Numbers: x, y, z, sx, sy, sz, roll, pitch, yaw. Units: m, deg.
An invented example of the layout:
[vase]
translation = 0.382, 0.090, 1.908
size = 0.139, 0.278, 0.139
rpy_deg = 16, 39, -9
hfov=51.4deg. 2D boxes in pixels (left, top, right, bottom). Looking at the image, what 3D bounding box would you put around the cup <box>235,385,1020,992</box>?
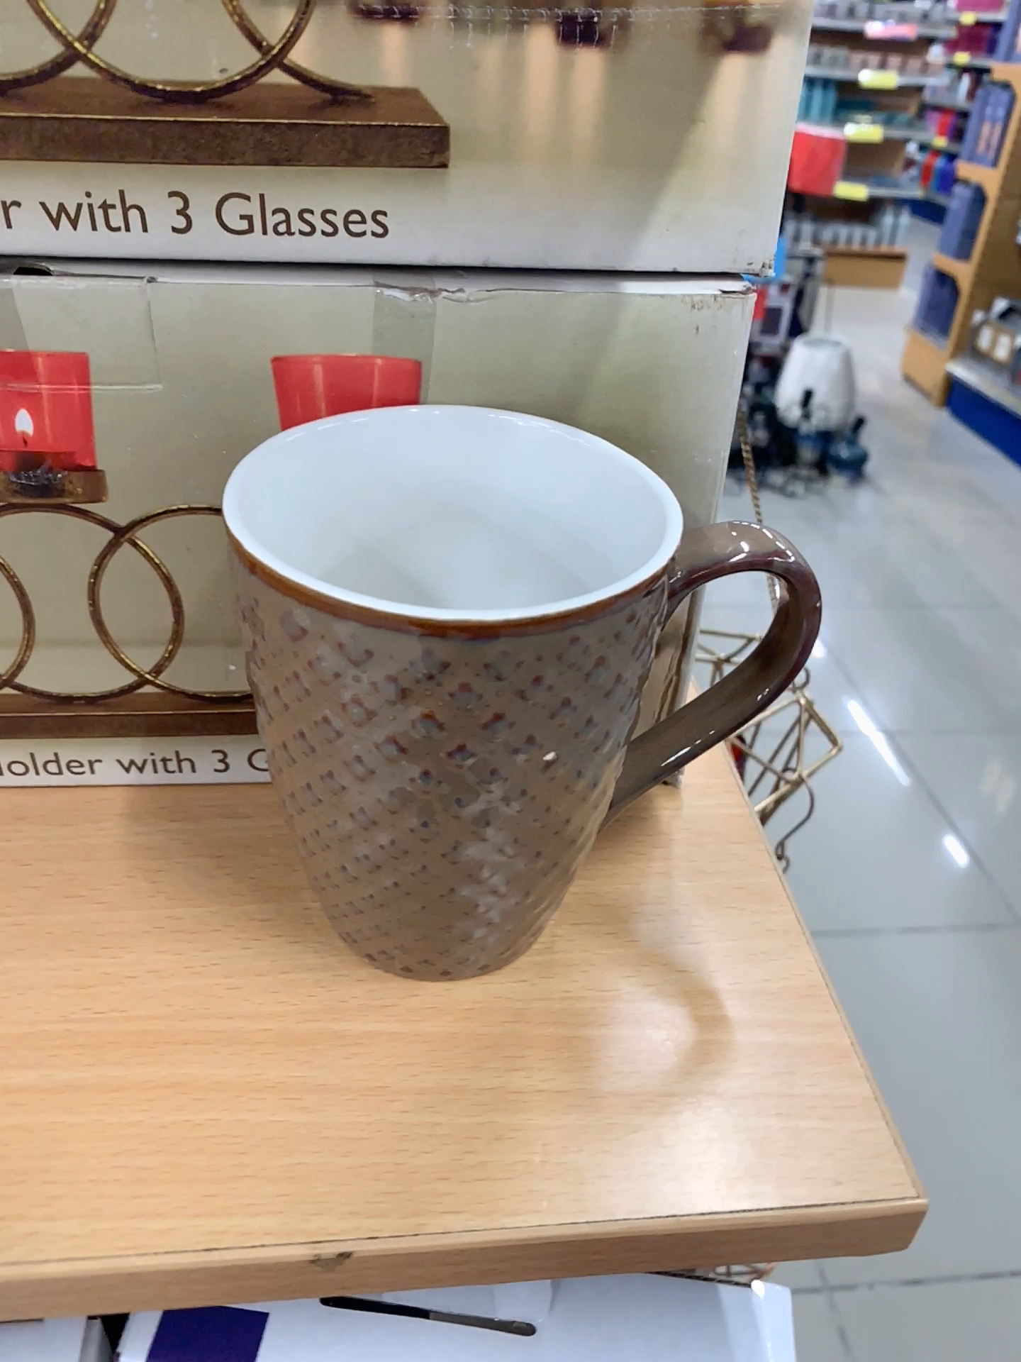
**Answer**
[cup]
translation = 0.012, -0.004, 0.229
size = 0.130, 0.090, 0.090
rpy_deg = -2, 32, -11
